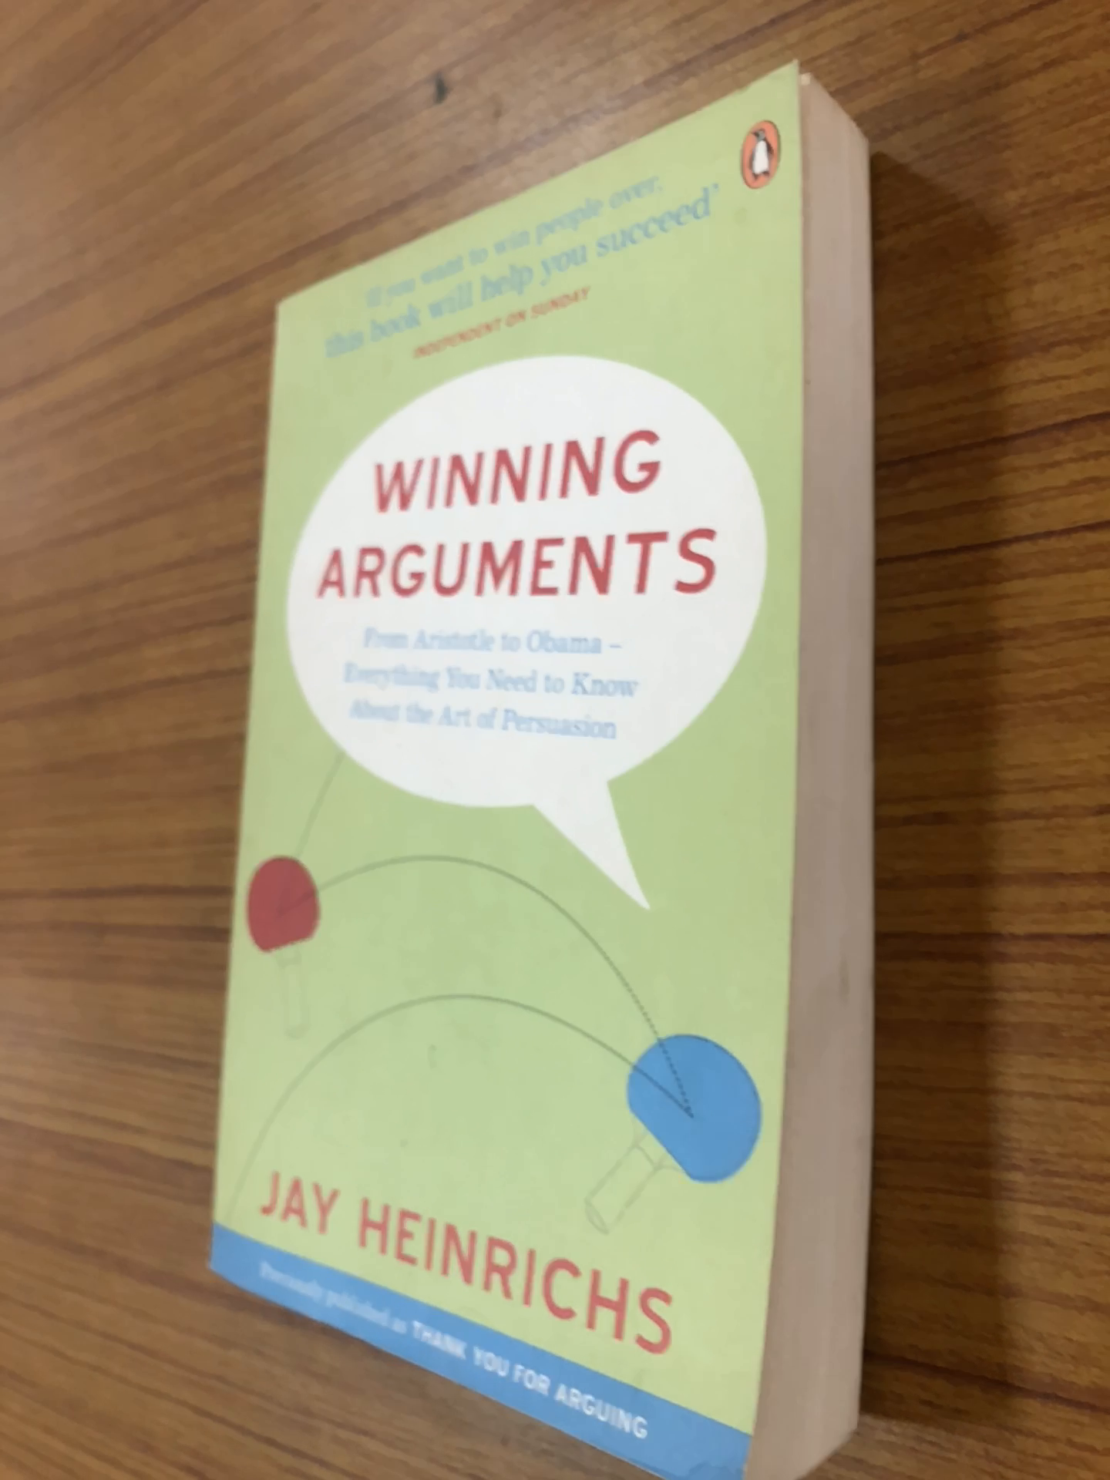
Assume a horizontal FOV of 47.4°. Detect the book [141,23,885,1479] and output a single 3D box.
[{"bbox_3d":[-0.014,0.006,0.227,0.141,0.030,0.210,-3,82,40],"label":"book"}]
